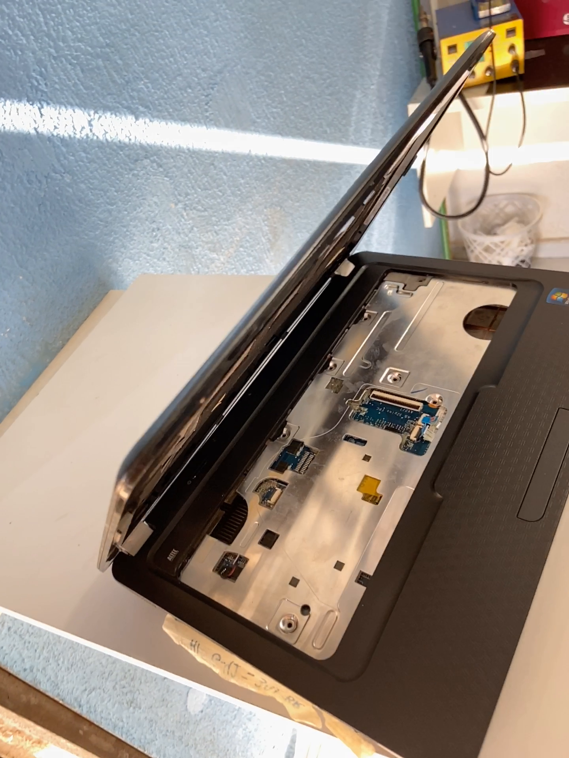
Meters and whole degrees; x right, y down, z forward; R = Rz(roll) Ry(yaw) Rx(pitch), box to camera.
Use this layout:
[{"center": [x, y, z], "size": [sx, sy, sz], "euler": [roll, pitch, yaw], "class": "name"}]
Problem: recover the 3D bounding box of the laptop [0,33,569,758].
[{"center": [0.041, -0.030, 0.321], "size": [0.222, 0.153, 0.328], "euler": [13, 52, 34], "class": "laptop"}]
